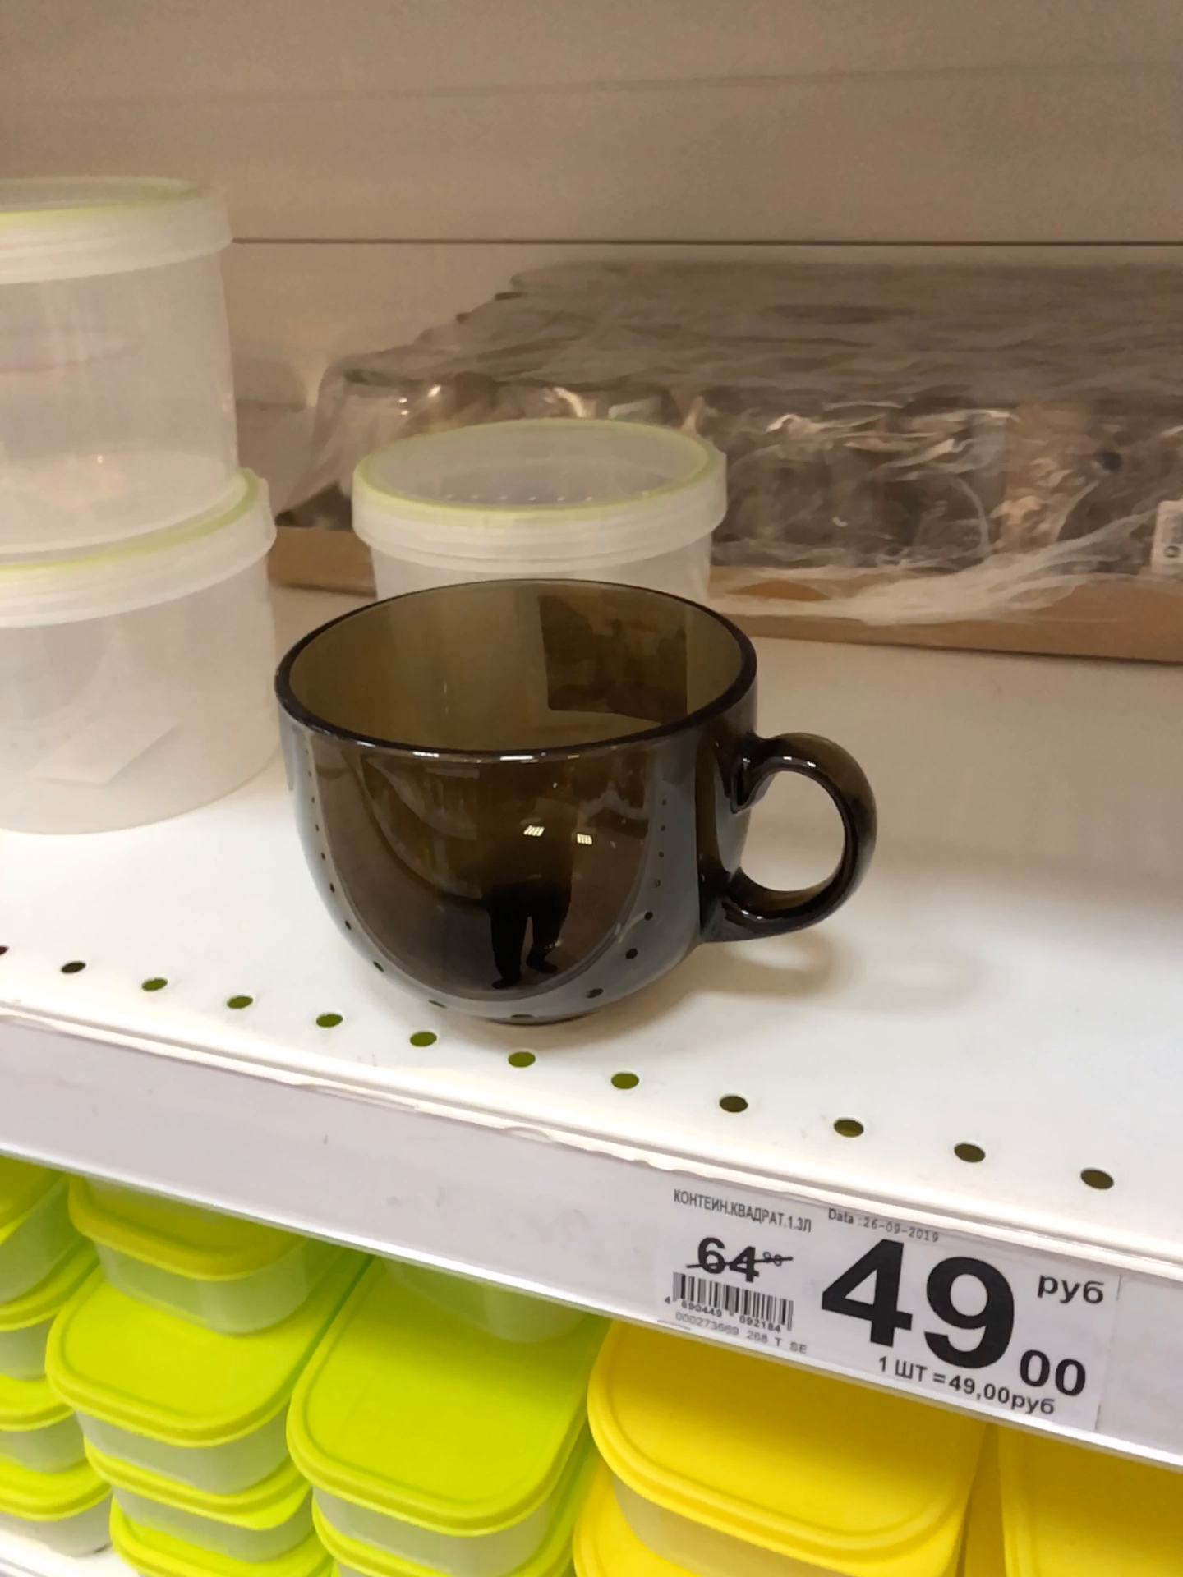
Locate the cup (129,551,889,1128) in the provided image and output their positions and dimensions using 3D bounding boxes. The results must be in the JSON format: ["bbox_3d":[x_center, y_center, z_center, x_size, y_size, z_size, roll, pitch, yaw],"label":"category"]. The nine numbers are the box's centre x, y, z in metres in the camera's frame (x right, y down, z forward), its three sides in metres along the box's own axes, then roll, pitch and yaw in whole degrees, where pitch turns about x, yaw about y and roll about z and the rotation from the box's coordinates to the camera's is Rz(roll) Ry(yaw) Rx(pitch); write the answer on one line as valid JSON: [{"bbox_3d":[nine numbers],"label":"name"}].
[{"bbox_3d":[-0.009,0.002,0.298,0.135,0.071,0.106,6,31,16],"label":"cup"}]
